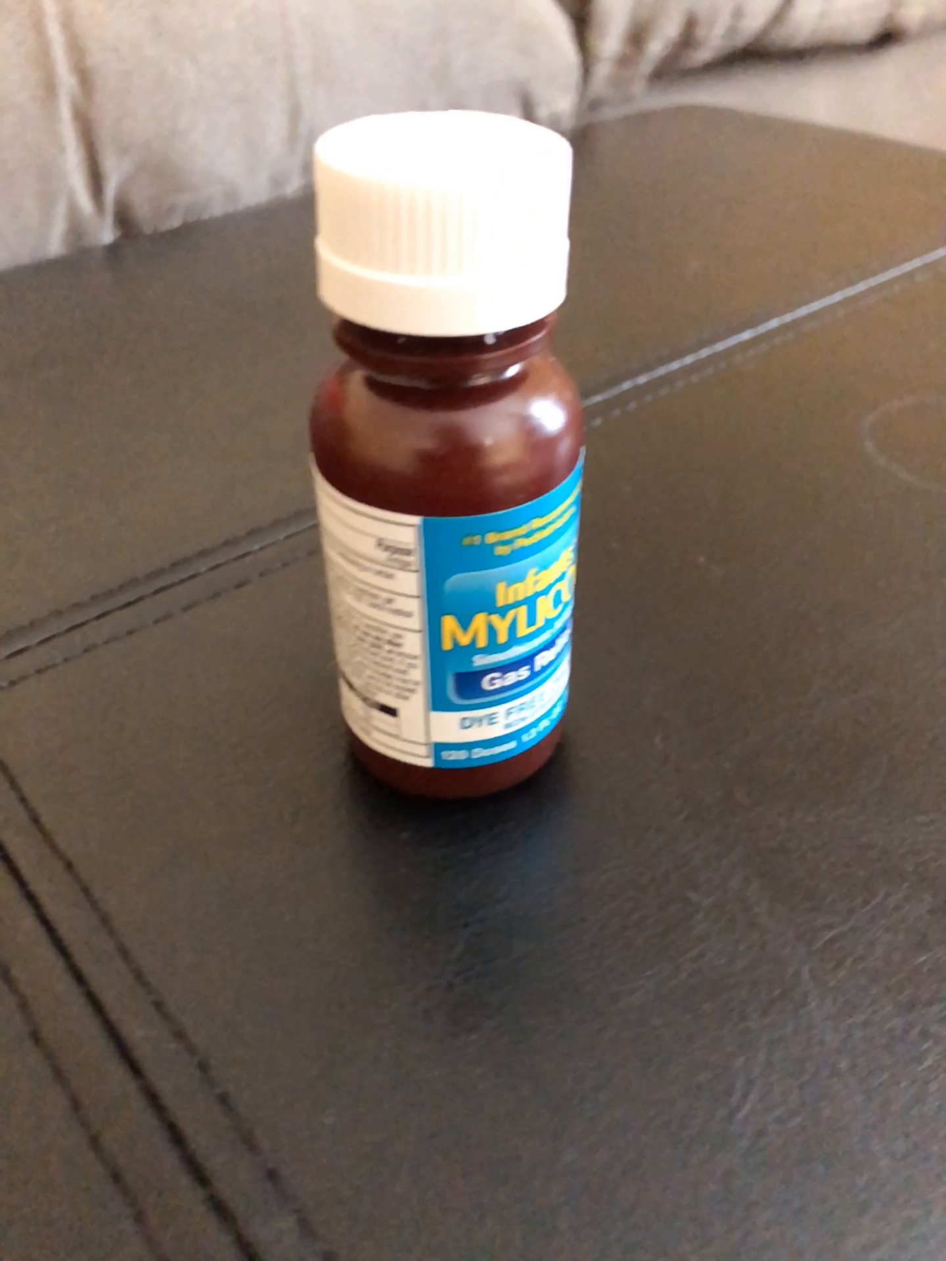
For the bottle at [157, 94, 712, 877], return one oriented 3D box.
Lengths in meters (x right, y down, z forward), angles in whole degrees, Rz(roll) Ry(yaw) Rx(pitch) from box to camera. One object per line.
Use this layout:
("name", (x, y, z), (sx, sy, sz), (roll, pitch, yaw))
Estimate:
("bottle", (-0.003, -0.017, 0.136), (0.040, 0.080, 0.040), (-1, 40, 1))
